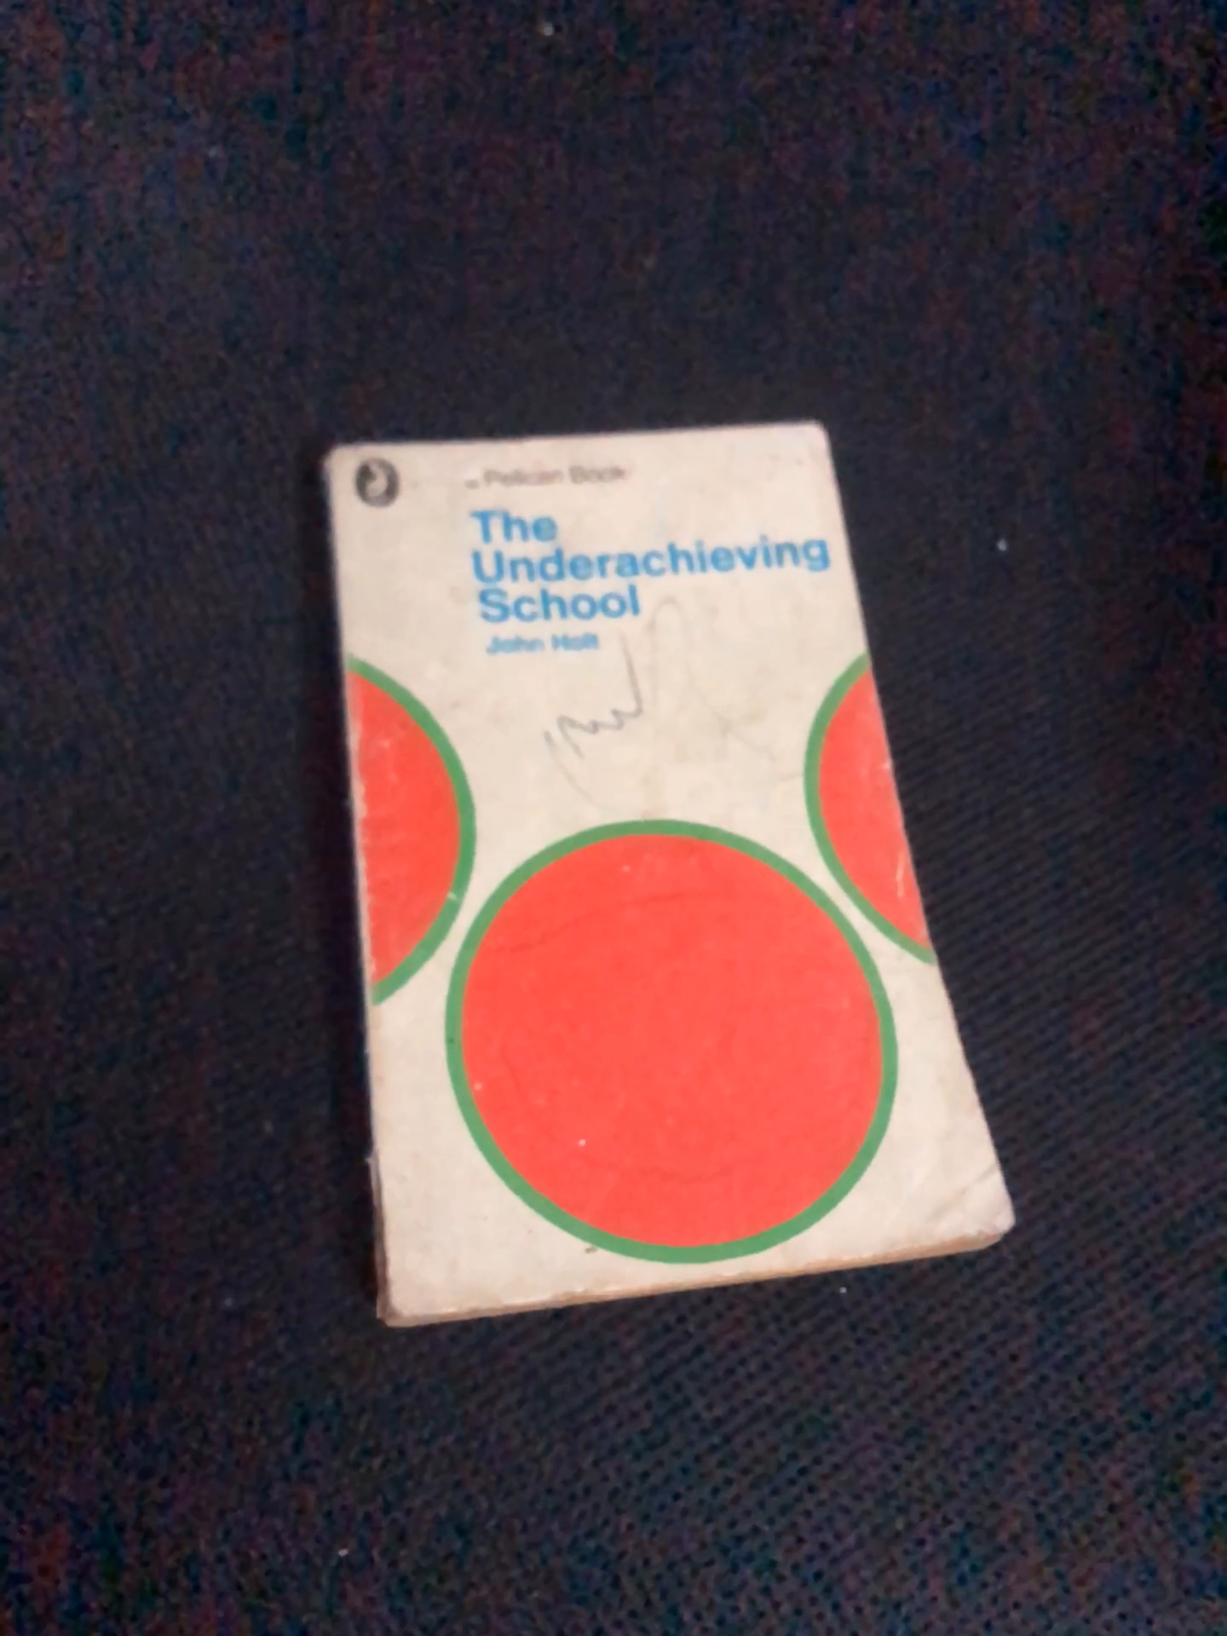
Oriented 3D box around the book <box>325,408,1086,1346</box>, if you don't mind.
[{"bbox_3d":[0.009,-0.001,0.272,0.120,0.020,0.182,-4,67,-10],"label":"book"}]
